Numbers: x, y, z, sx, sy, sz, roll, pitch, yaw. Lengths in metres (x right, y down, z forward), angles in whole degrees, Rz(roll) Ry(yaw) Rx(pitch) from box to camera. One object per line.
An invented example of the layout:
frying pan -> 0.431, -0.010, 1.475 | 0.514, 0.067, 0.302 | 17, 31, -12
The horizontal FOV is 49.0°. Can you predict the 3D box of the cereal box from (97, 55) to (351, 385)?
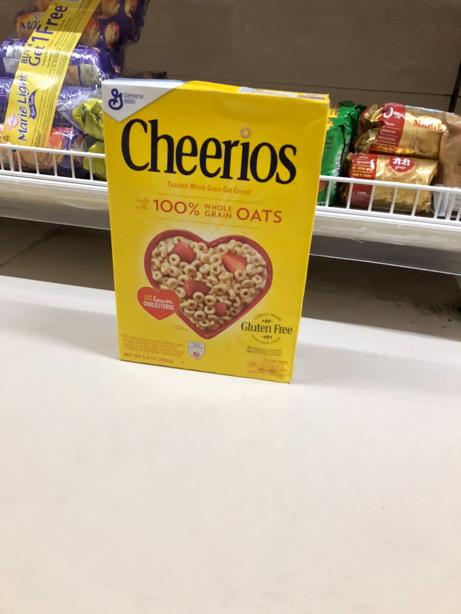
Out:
cereal box -> -0.011, -0.074, 0.486 | 0.200, 0.288, 0.060 | 7, 28, 7
